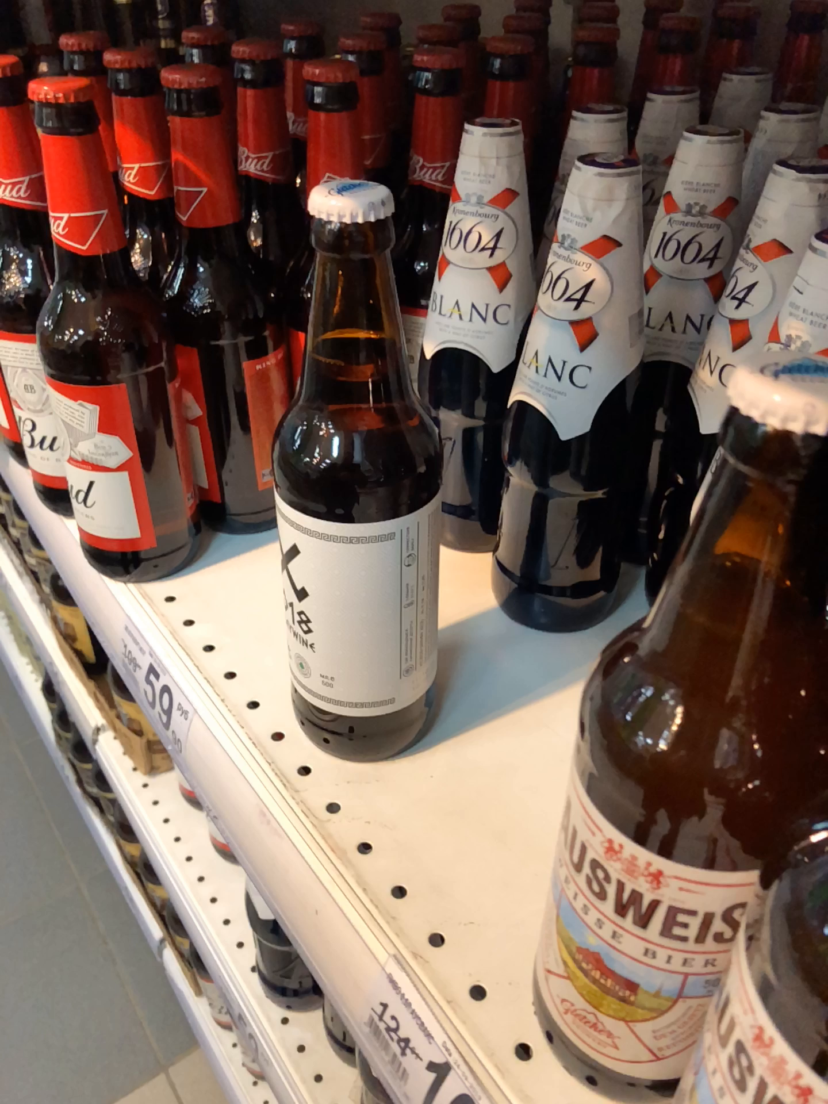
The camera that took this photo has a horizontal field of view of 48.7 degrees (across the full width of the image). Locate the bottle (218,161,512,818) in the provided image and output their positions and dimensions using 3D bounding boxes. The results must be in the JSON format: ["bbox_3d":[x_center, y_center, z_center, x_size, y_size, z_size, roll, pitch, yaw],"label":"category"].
[{"bbox_3d":[-0.017,-0.014,0.375,0.070,0.251,0.080,-18,39,-22],"label":"bottle"}]
